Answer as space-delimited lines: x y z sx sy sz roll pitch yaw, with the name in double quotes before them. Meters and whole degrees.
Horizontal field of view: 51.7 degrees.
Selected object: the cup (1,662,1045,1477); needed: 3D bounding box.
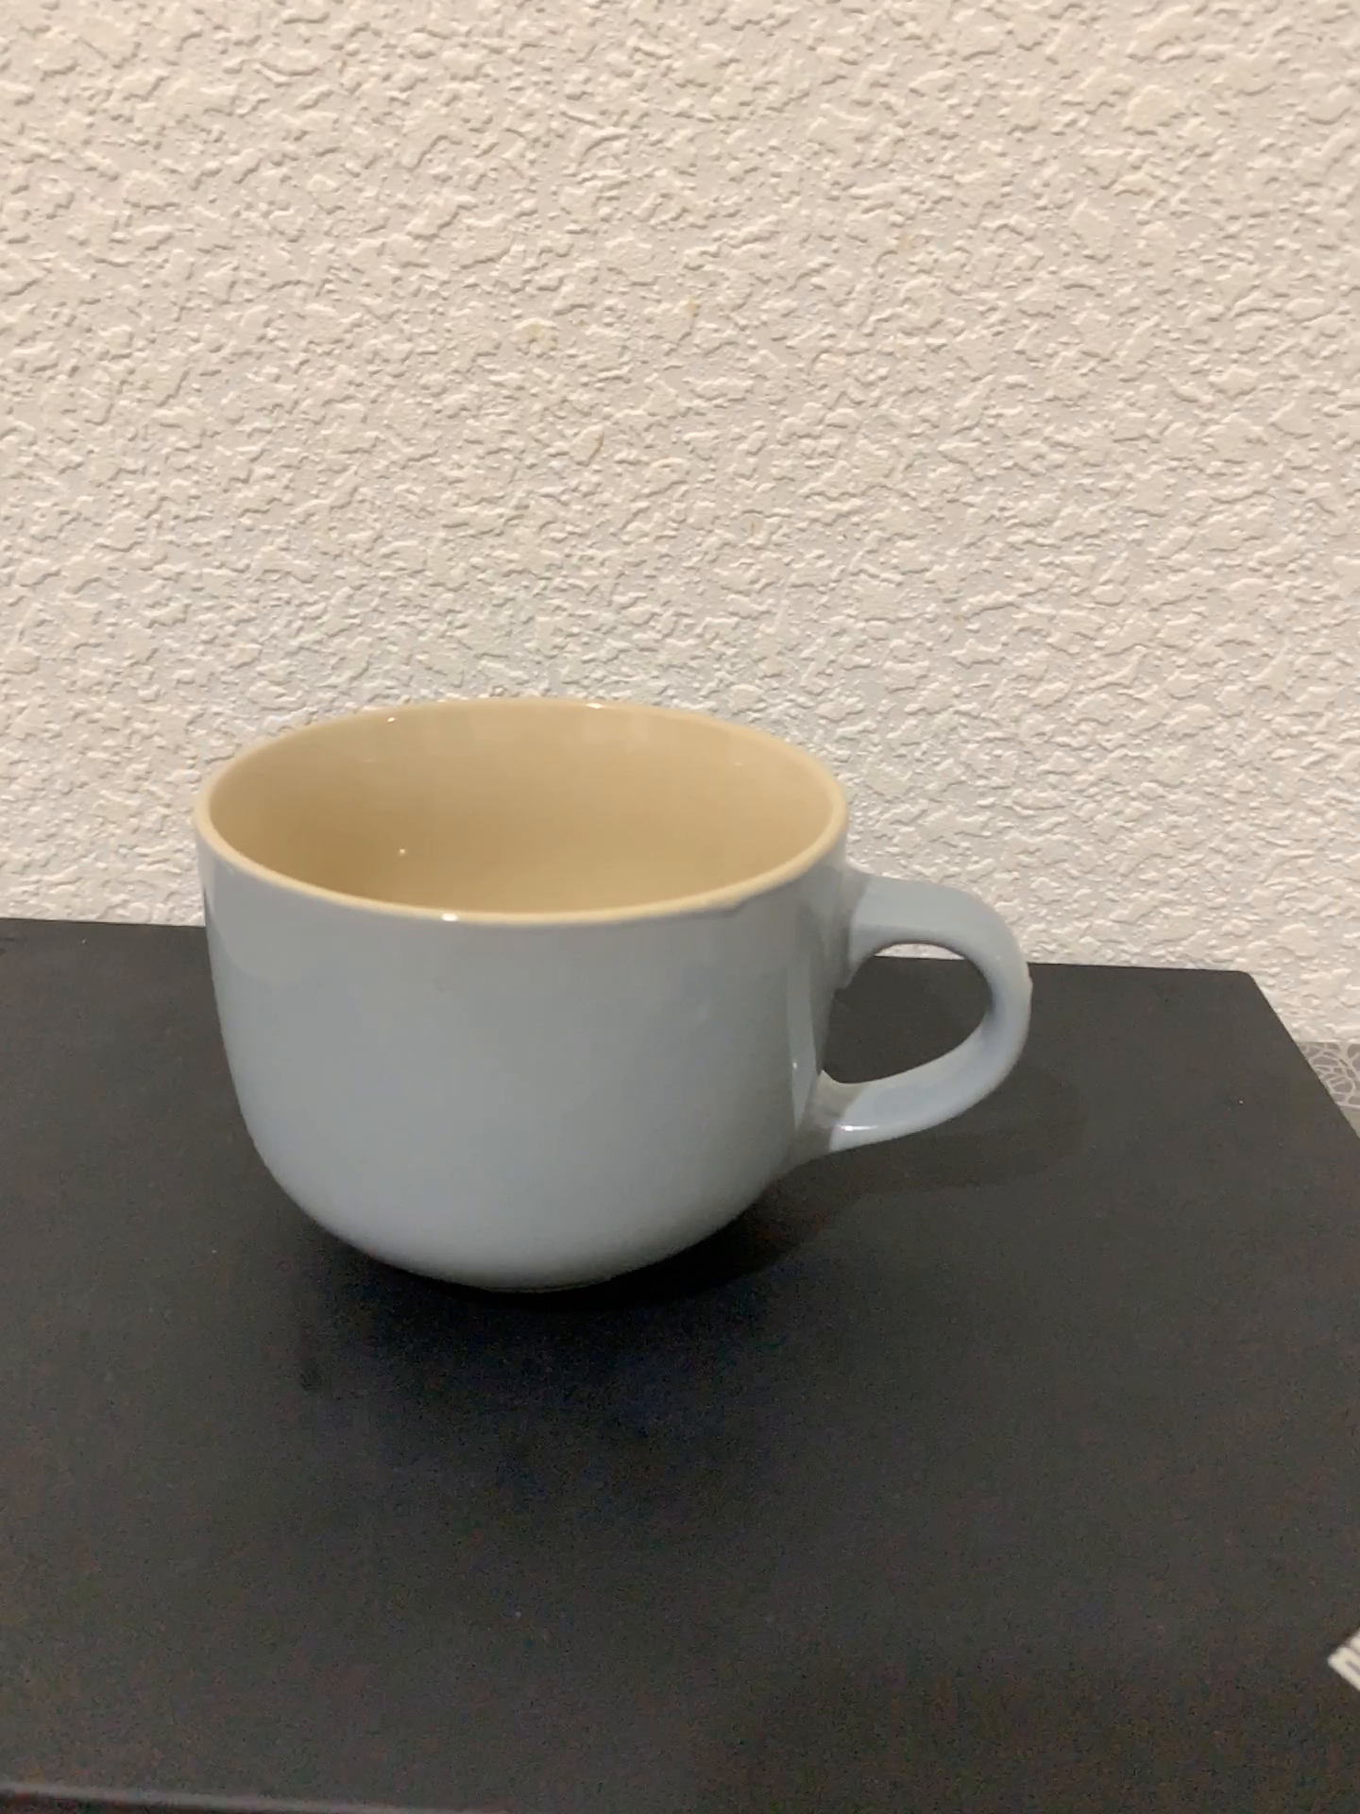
"cup" -0.015 0.015 0.239 0.133 0.079 0.111 5 24 8
